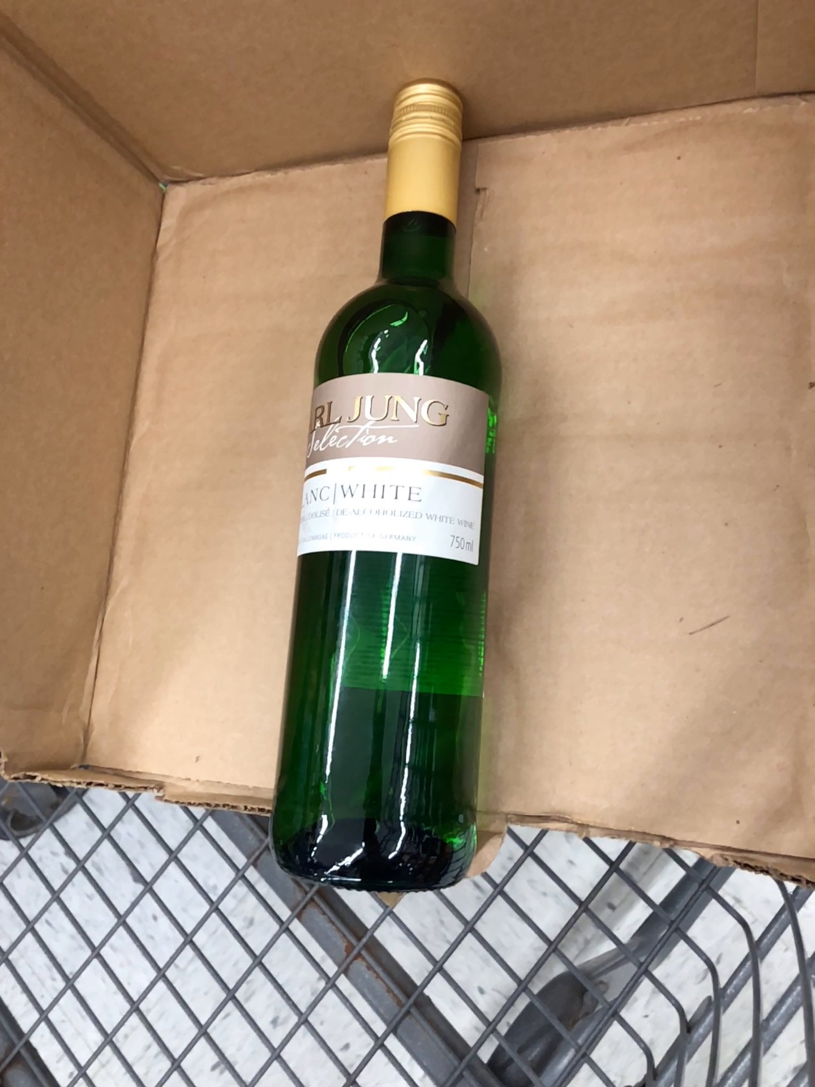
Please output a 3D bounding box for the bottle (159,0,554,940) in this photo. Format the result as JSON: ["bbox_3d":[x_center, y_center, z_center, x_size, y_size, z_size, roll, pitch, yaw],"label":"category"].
[{"bbox_3d":[-0.008,-0.048,0.331,0.080,0.100,0.330,-1,80,29],"label":"bottle"}]
